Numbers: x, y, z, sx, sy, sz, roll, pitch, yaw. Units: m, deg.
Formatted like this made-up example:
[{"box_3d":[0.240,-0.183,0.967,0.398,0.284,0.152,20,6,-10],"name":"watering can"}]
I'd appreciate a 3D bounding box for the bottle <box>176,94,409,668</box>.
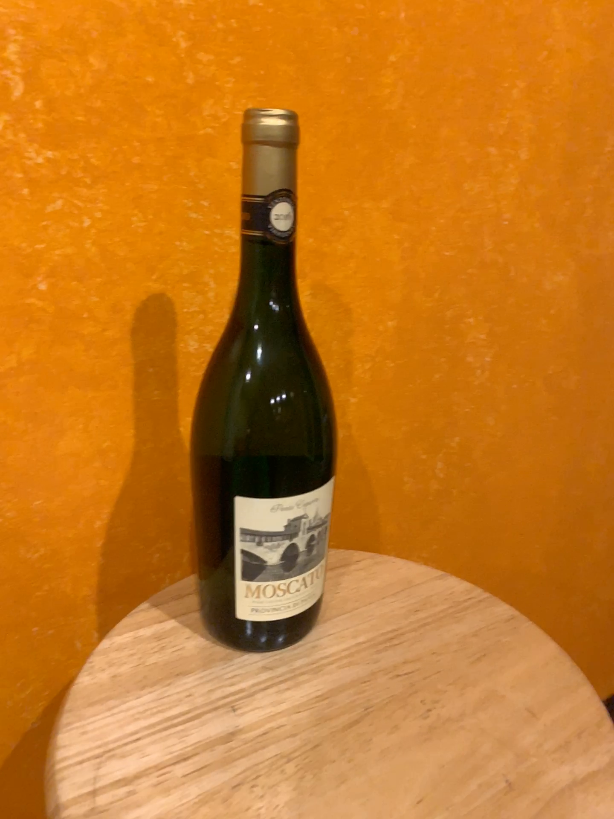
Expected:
[{"box_3d":[-0.016,-0.008,0.351,0.090,0.289,0.070,-7,22,-26],"name":"bottle"}]
